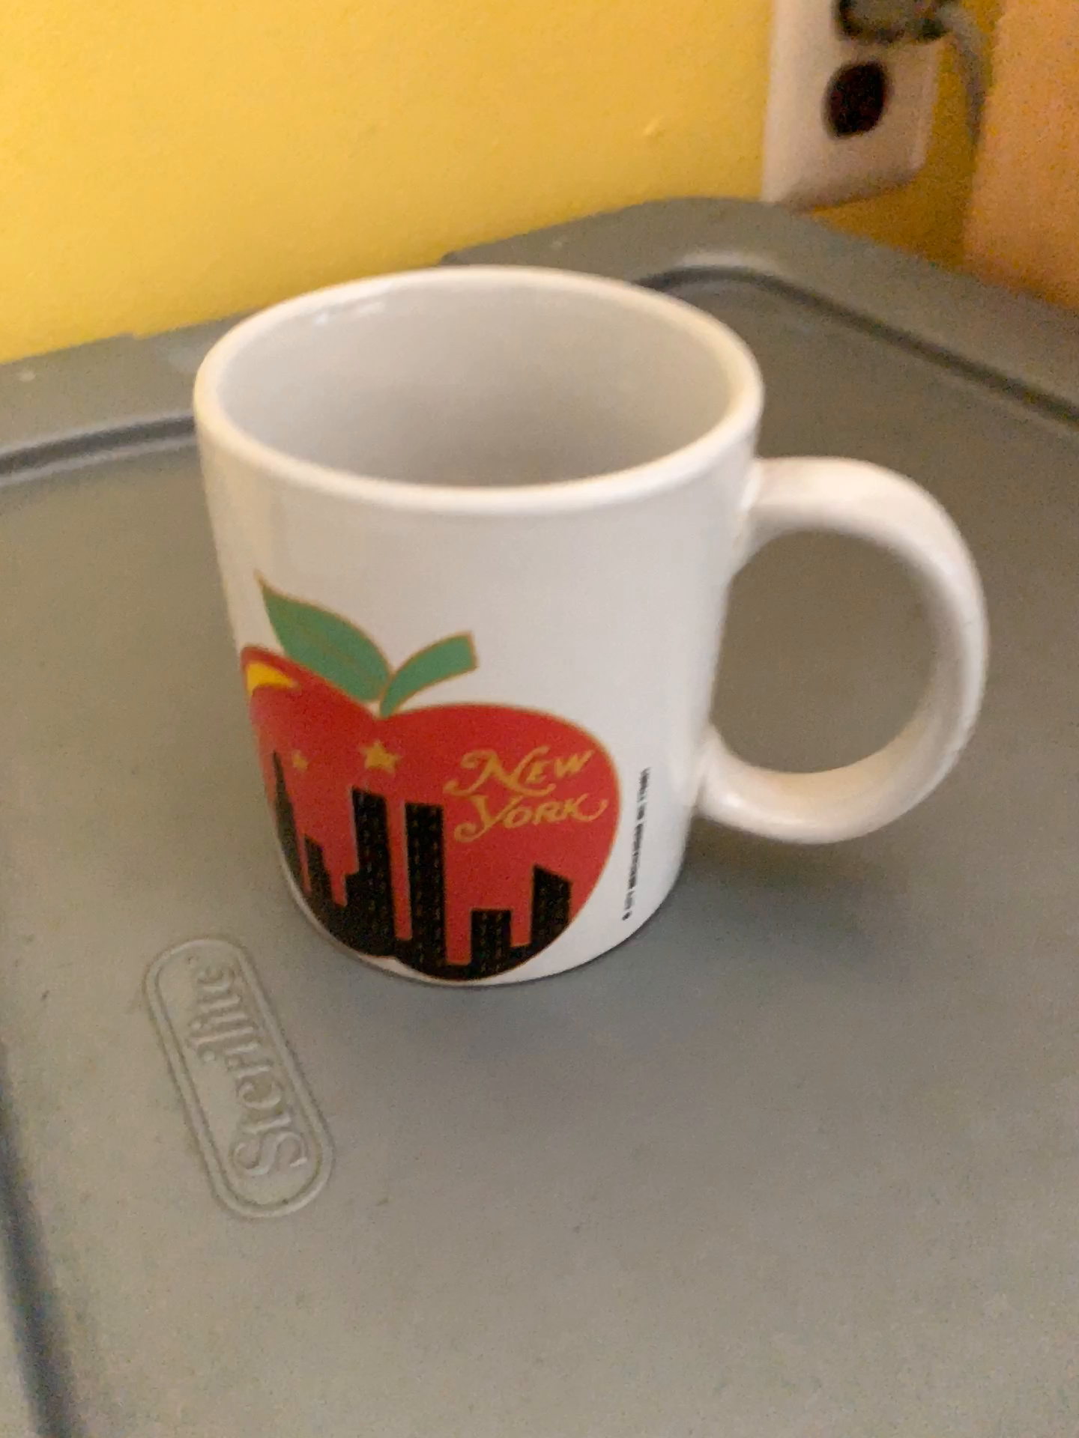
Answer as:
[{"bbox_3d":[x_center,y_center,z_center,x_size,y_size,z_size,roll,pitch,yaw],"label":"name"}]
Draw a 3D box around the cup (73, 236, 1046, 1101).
[{"bbox_3d":[0.009,-0.015,0.198,0.118,0.095,0.098,10,41,10],"label":"cup"}]
